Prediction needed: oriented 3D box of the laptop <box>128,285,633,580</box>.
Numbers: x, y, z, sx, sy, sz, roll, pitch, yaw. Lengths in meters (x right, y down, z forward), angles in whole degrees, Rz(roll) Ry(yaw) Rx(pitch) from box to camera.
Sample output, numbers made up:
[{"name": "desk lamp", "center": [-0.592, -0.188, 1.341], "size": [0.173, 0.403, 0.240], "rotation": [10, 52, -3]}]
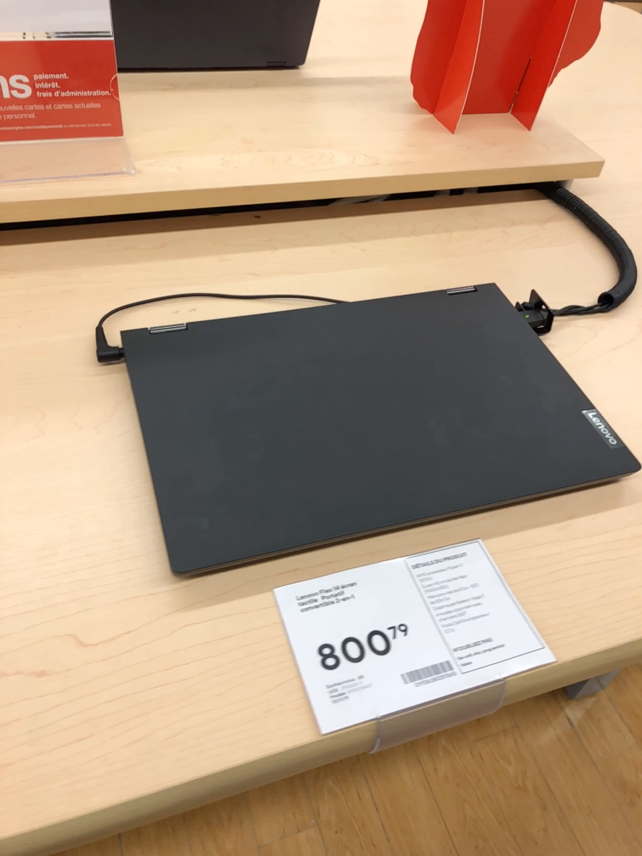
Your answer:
[{"name": "laptop", "center": [0.038, -0.020, 0.522], "size": [0.326, 0.009, 0.212], "rotation": [-10, 50, -18]}]
